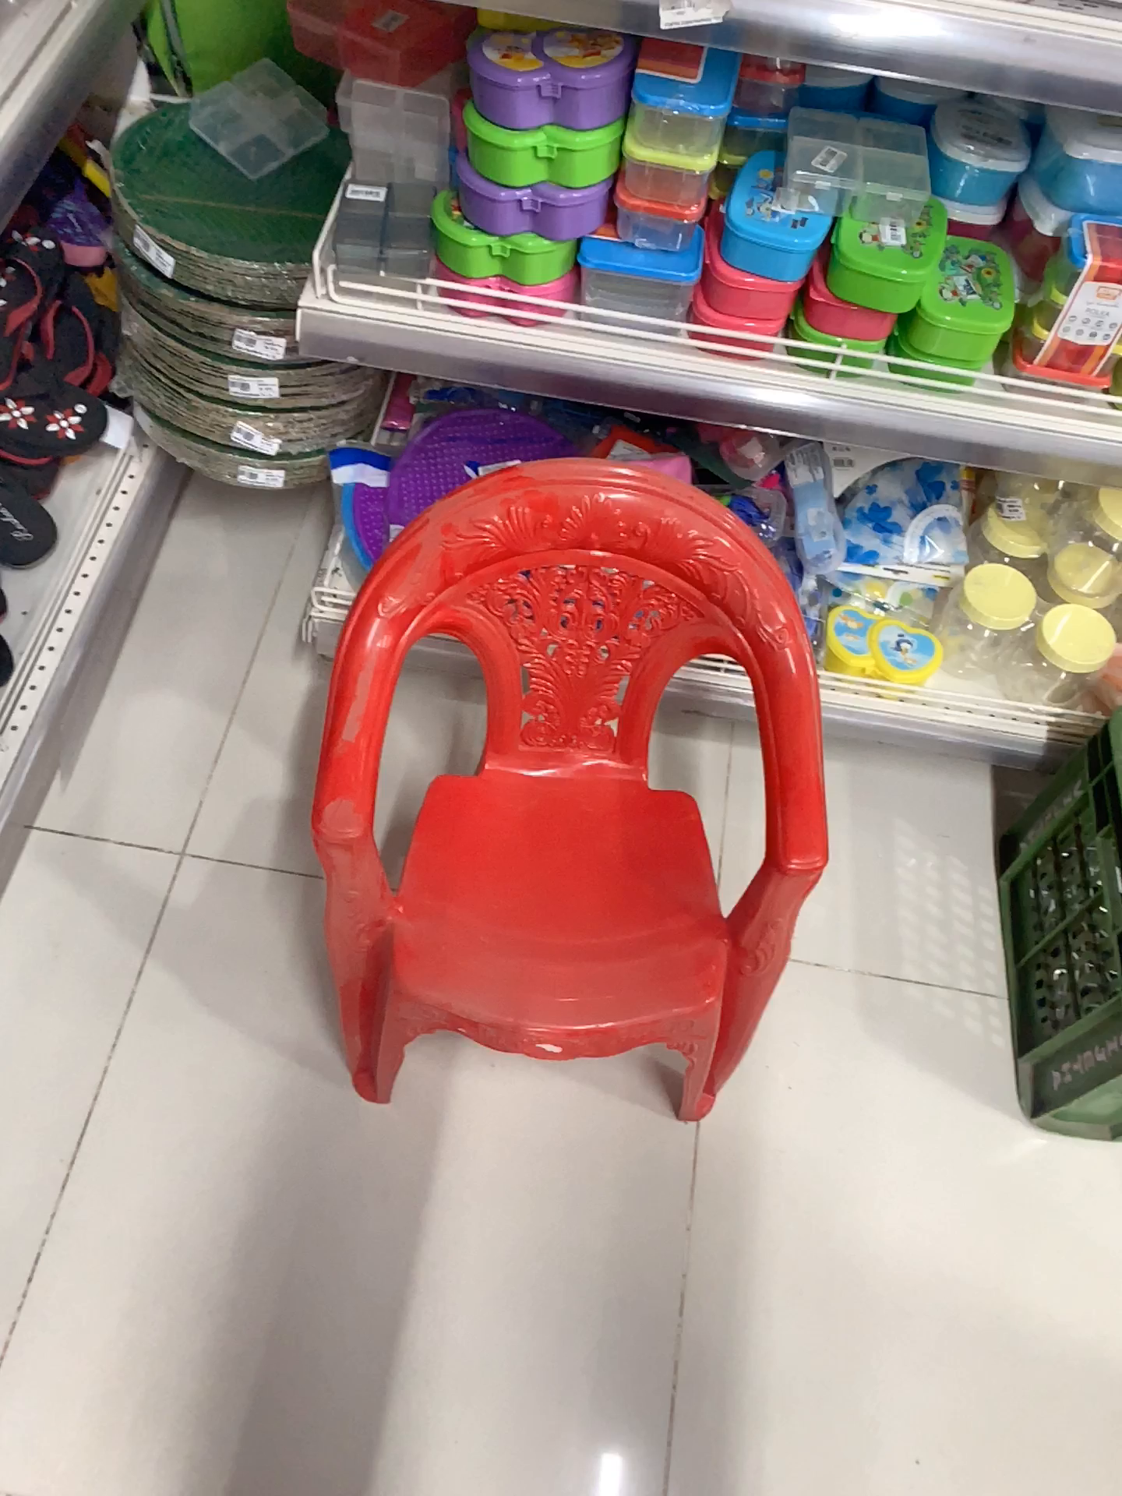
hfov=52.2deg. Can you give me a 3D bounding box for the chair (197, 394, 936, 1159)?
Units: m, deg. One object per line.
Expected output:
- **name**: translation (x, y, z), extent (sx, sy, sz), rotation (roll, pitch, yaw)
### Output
- **chair**: translation (0.002, 0.063, 0.951), extent (0.410, 0.499, 0.410), rotation (5, 60, -1)
